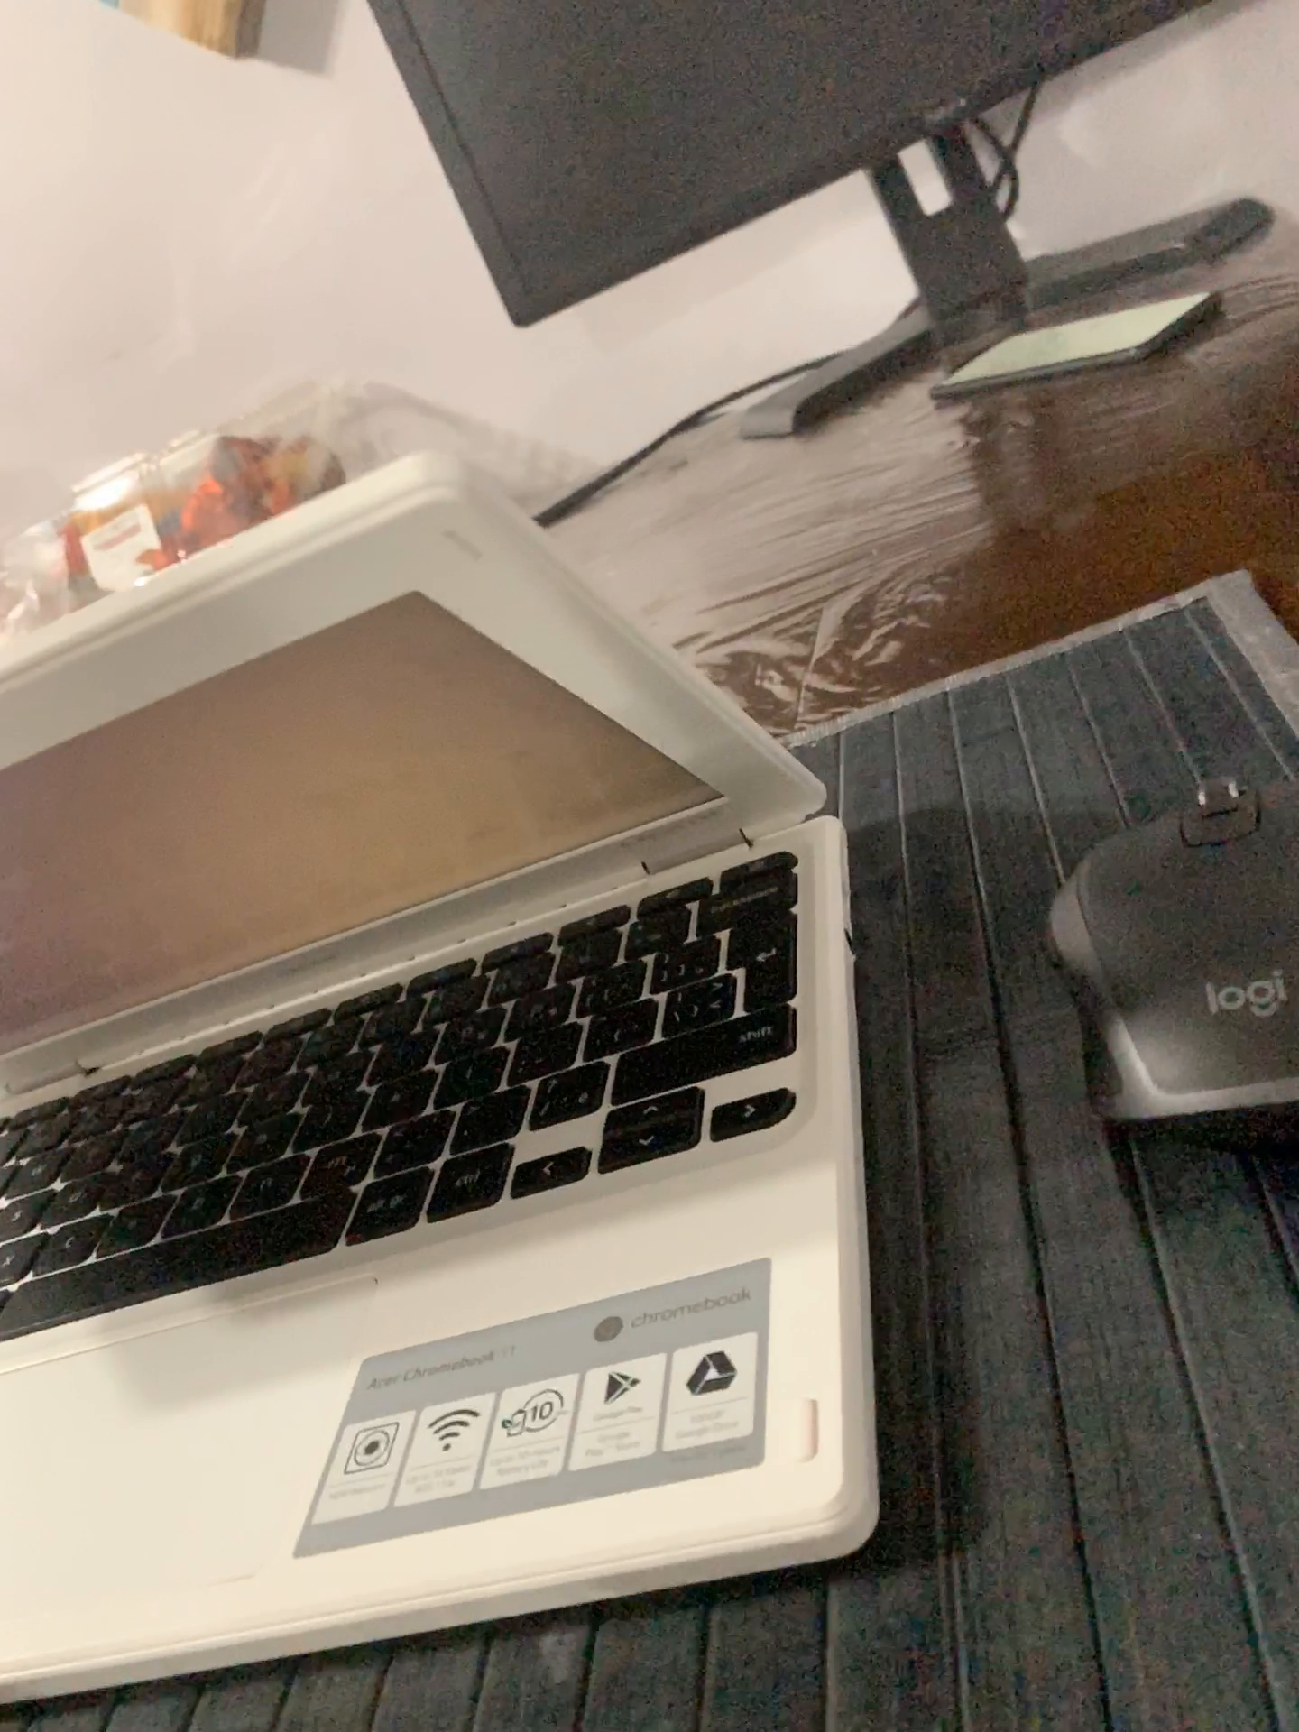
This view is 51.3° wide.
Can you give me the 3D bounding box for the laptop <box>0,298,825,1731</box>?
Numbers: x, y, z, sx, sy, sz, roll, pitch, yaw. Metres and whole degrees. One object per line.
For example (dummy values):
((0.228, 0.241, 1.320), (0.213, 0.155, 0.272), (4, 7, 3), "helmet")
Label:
((-0.122, 0.026, 0.257), (0.280, 0.124, 0.182), (-19, 25, 17), "laptop")
